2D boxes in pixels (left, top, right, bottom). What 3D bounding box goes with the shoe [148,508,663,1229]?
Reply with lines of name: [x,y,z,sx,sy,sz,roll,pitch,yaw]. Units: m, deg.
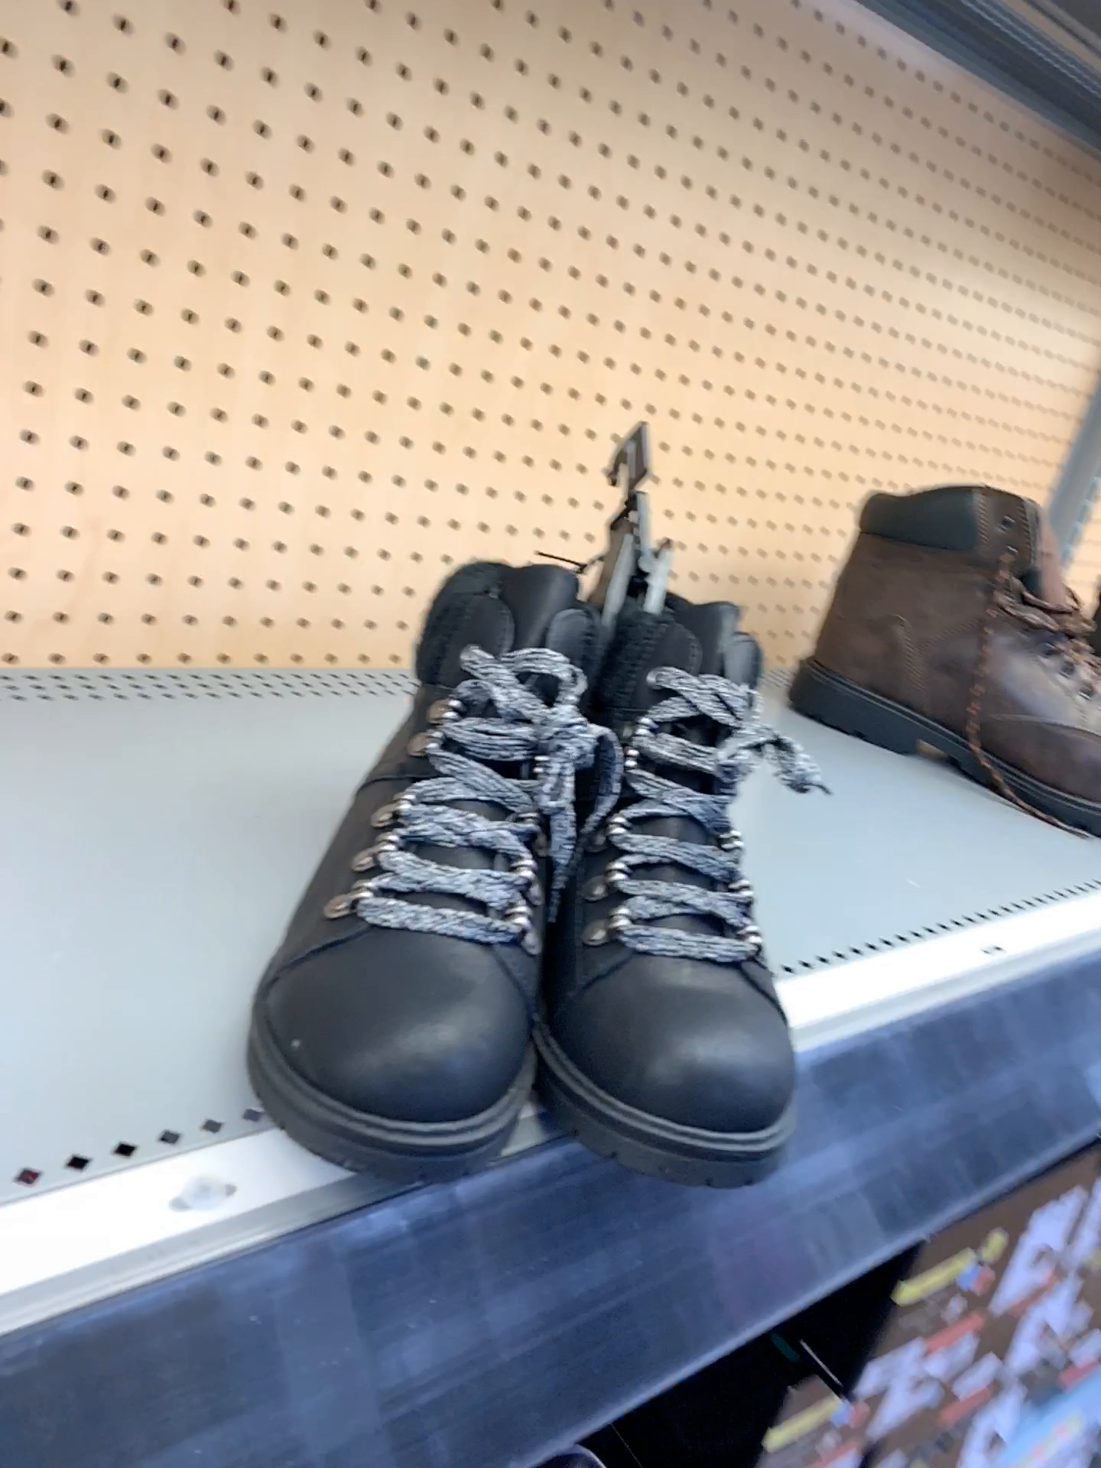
shoe: [-0.031,0.019,0.396,0.104,0.137,0.236,16,21,0]

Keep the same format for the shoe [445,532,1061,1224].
shoe: [0.043,0.033,0.407,0.105,0.137,0.232,9,22,-17]
